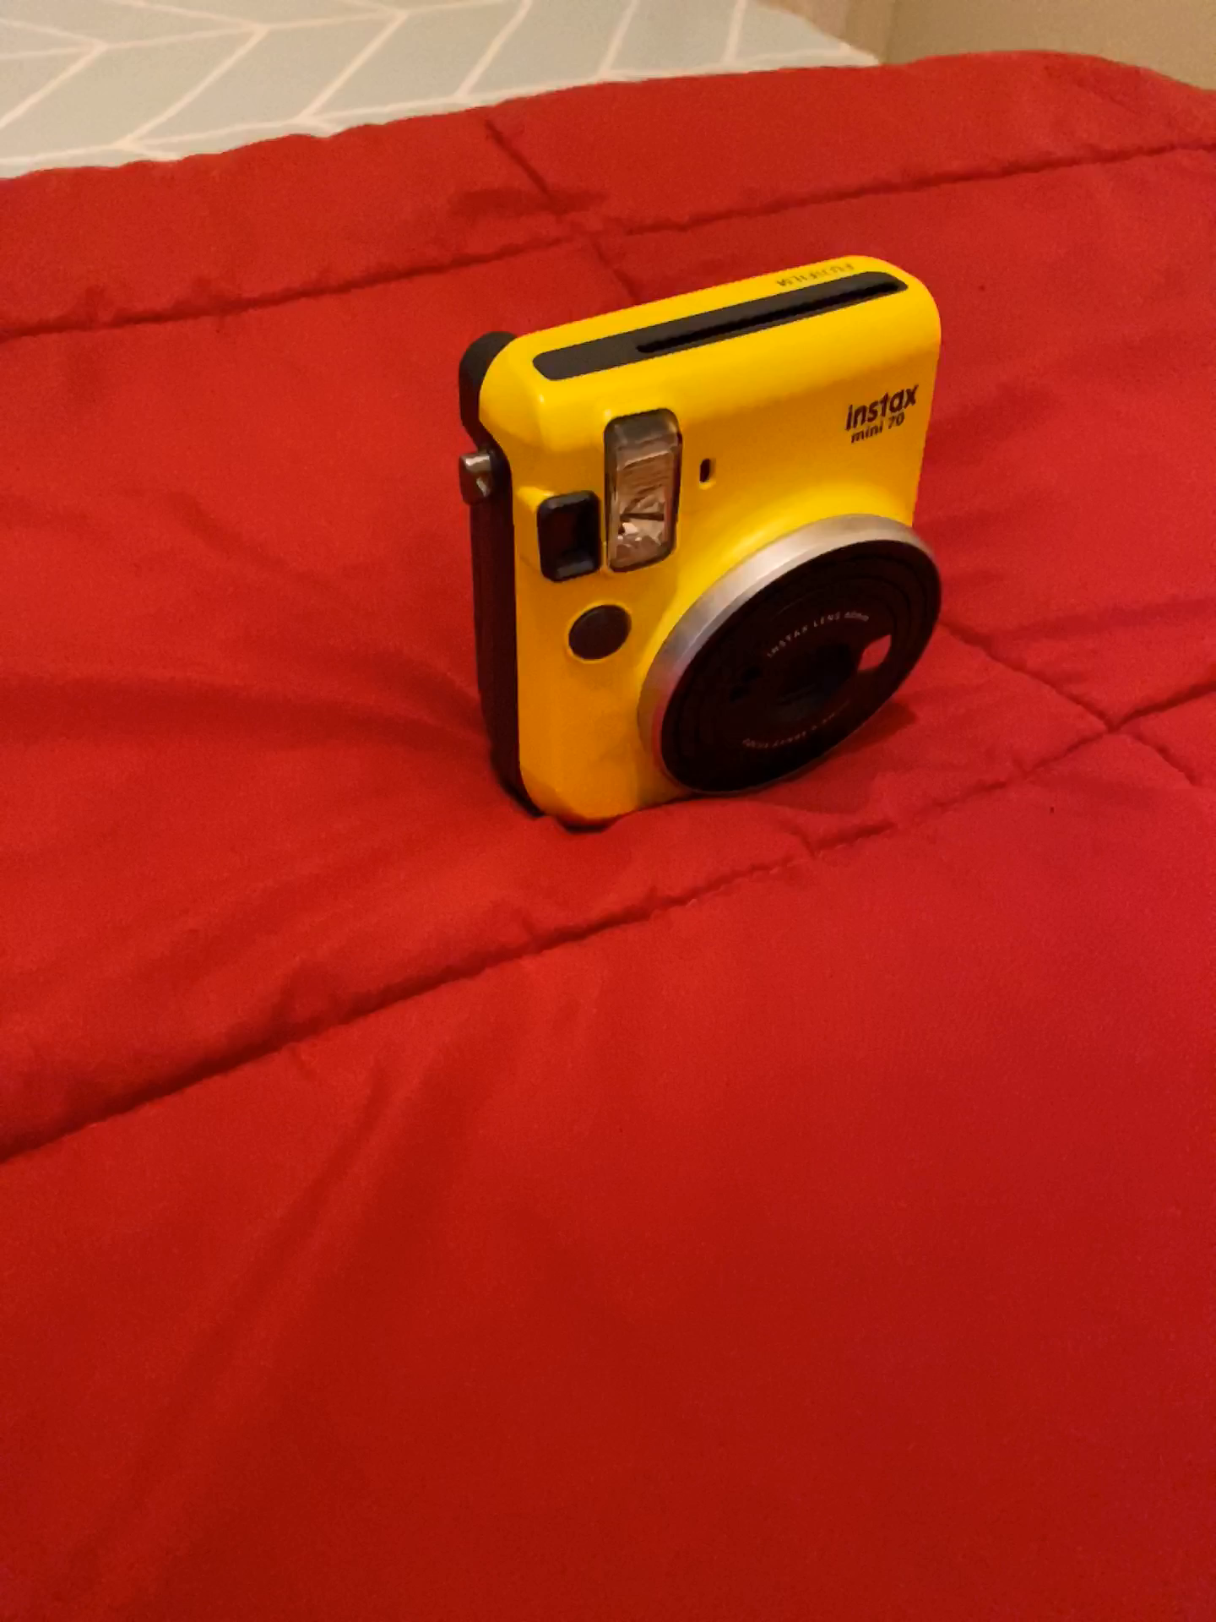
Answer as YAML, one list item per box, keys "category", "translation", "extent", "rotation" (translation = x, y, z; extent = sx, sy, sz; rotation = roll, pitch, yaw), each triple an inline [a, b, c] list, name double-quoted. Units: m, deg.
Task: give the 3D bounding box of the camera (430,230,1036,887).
- category: "camera"
  translation: [0.020, -0.052, 0.268]
  extent: [0.095, 0.103, 0.057]
  rotation: [-20, 54, -20]
